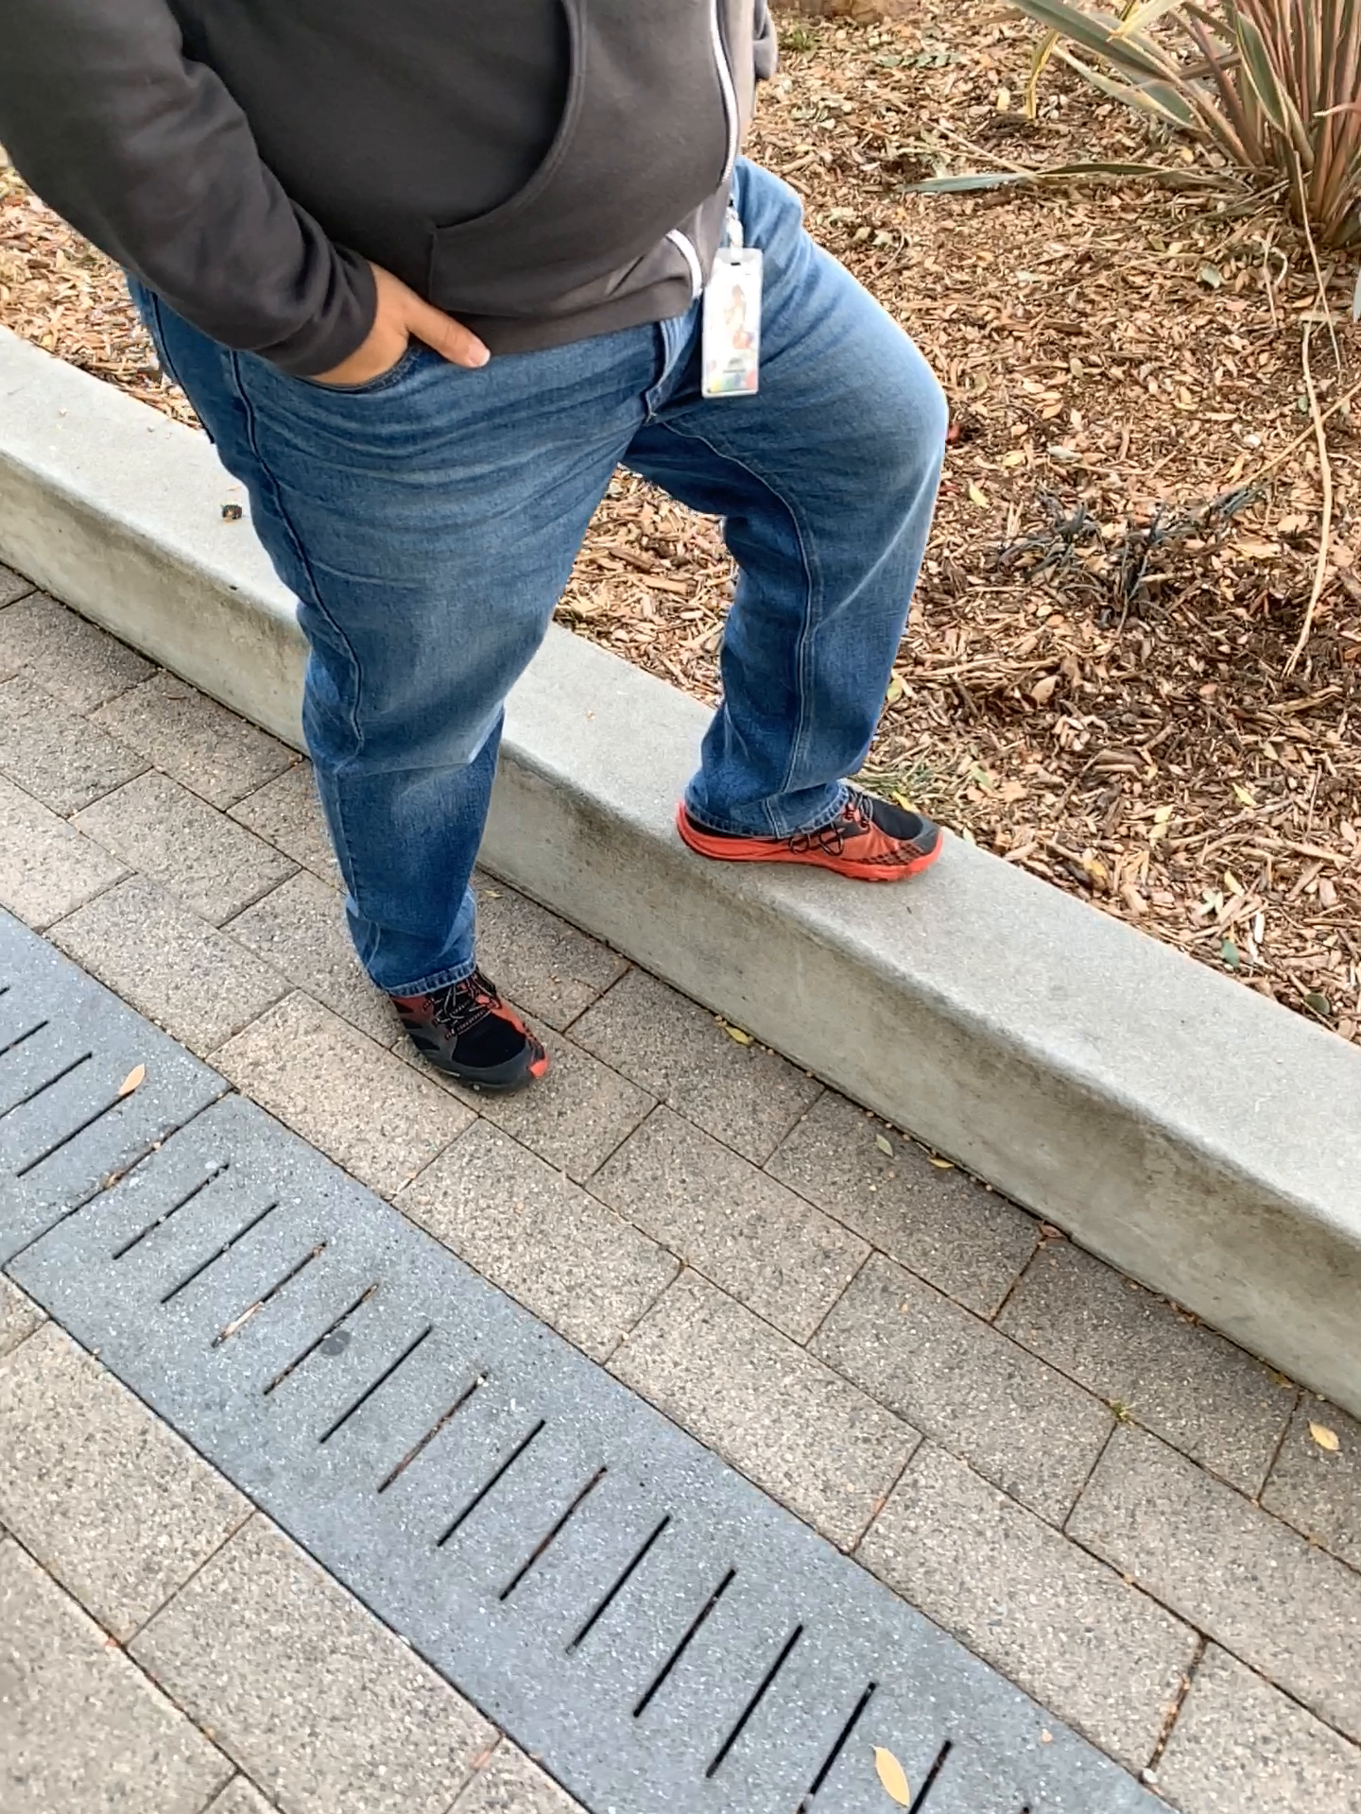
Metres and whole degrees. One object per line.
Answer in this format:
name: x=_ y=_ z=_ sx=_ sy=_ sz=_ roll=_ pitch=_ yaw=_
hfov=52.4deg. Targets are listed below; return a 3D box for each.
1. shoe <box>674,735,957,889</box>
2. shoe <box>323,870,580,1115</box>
shoe: x=0.155 y=-0.112 z=1.609 sx=0.310 sy=0.080 sz=0.122 roll=7 pitch=44 yaw=-1
shoe: x=-0.278 y=0.096 z=1.666 sx=0.307 sy=0.080 sz=0.137 roll=37 pitch=51 yaw=26
